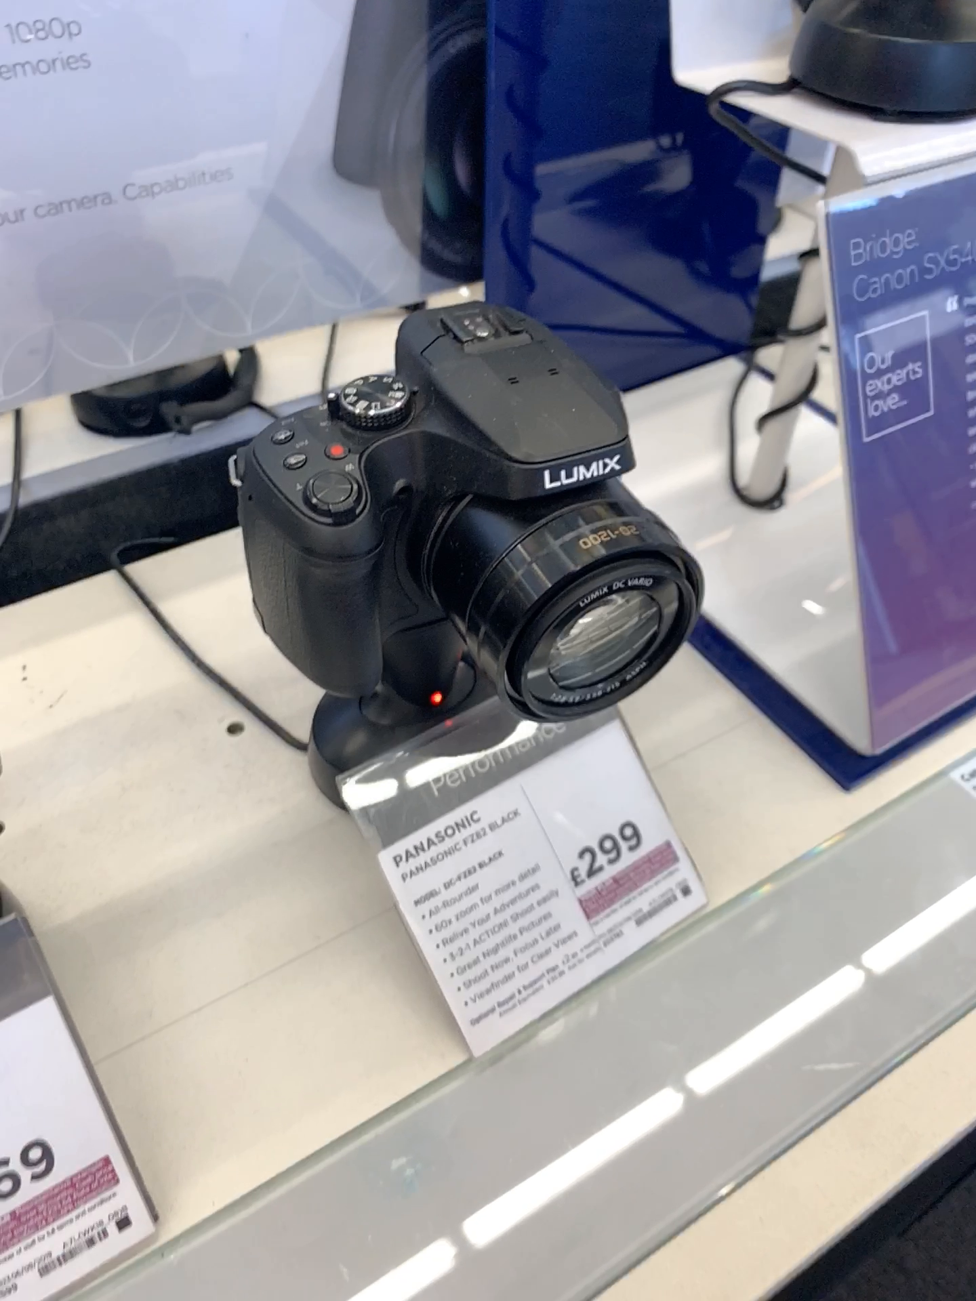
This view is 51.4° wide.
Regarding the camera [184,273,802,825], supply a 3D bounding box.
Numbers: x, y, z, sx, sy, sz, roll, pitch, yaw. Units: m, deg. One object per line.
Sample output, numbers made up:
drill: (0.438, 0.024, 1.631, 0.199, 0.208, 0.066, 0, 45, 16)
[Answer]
camera: (-0.004, -0.040, 0.309, 0.130, 0.079, 0.121, -20, 49, -21)
